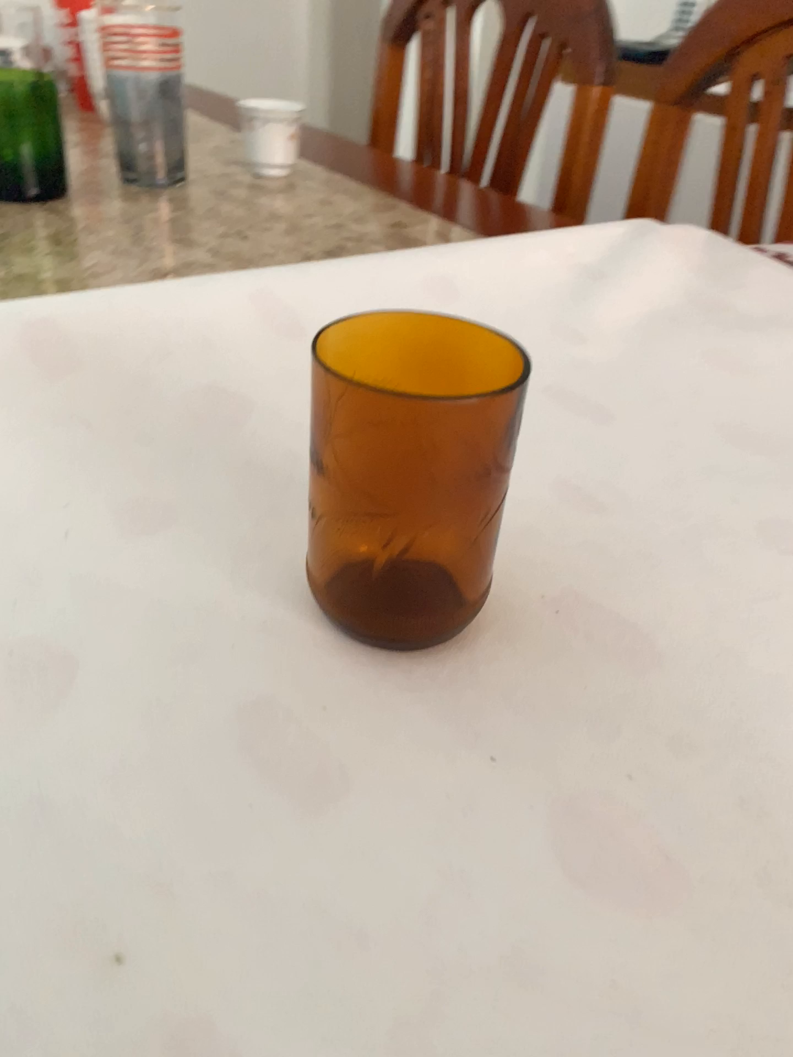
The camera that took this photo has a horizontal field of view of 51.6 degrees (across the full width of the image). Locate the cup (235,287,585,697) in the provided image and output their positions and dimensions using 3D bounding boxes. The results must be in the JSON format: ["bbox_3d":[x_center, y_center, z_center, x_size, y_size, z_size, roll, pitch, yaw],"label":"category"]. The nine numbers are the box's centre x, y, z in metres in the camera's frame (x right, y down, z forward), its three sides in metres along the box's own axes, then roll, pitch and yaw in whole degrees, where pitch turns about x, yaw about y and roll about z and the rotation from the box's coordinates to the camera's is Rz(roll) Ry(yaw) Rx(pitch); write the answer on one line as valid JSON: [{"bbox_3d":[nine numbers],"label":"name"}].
[{"bbox_3d":[-0.001,-0.015,0.254,0.070,0.089,0.070,3,35,-2],"label":"cup"}]
